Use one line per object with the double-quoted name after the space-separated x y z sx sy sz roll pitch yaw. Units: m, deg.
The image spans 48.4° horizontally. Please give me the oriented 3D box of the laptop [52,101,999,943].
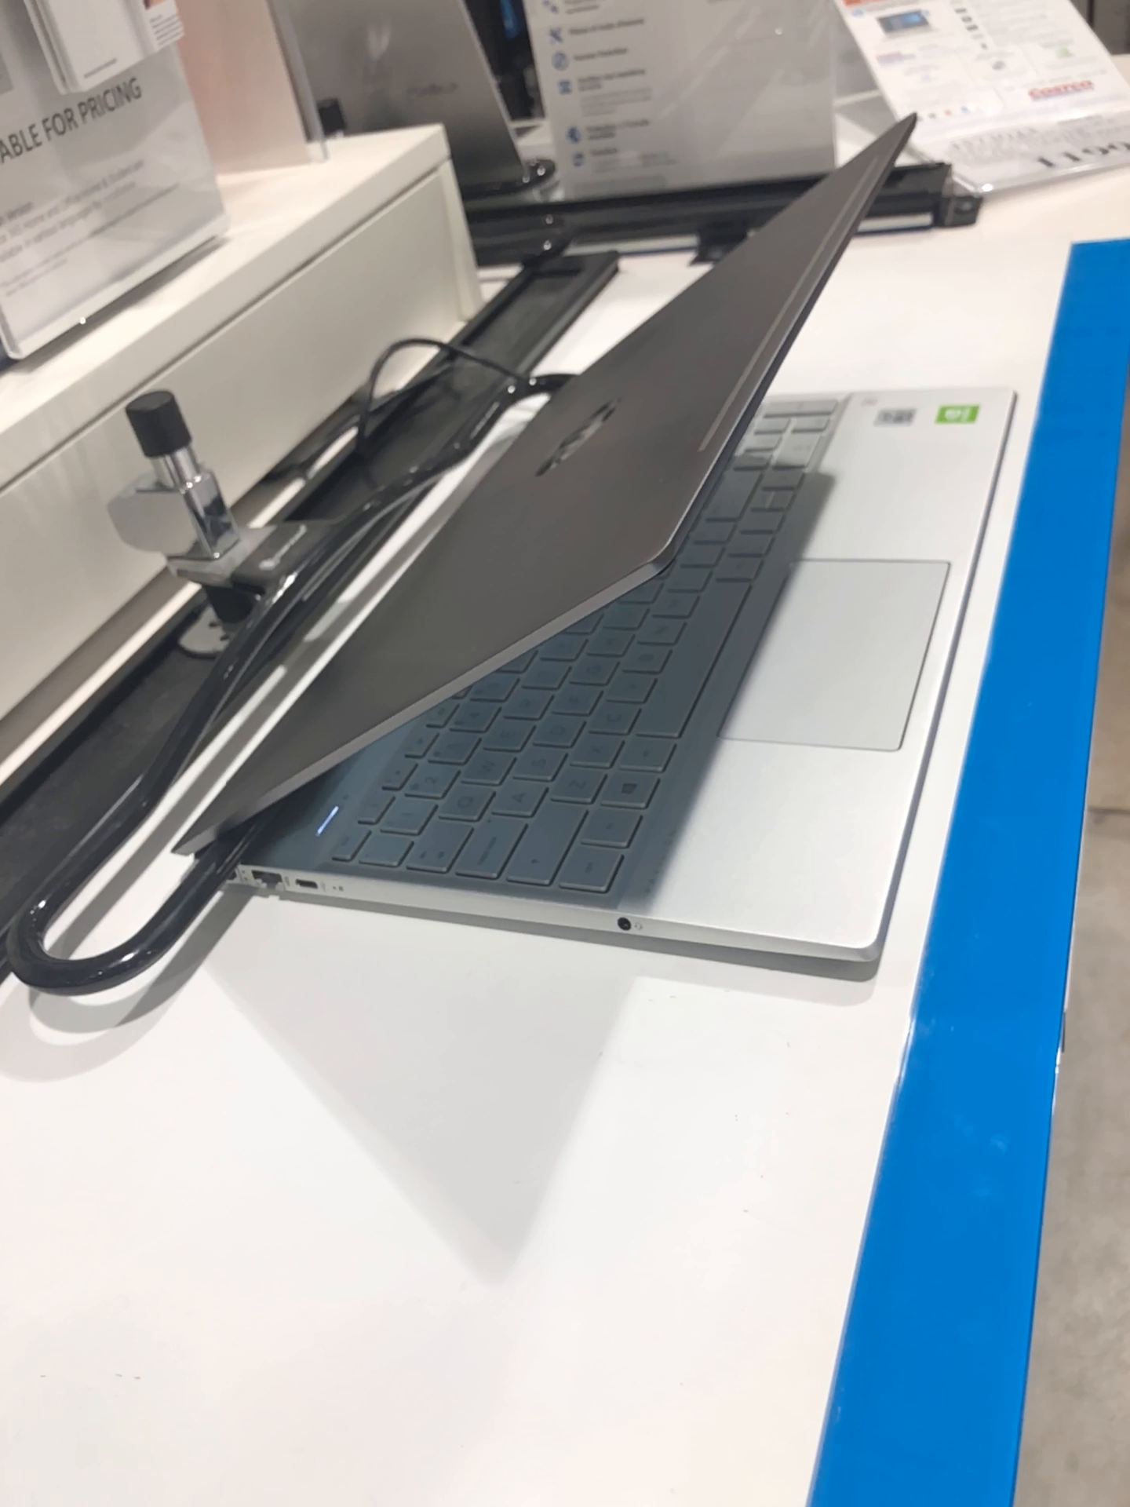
0.028 -0.114 0.467 0.215 0.124 0.349 5 41 23 "laptop"
